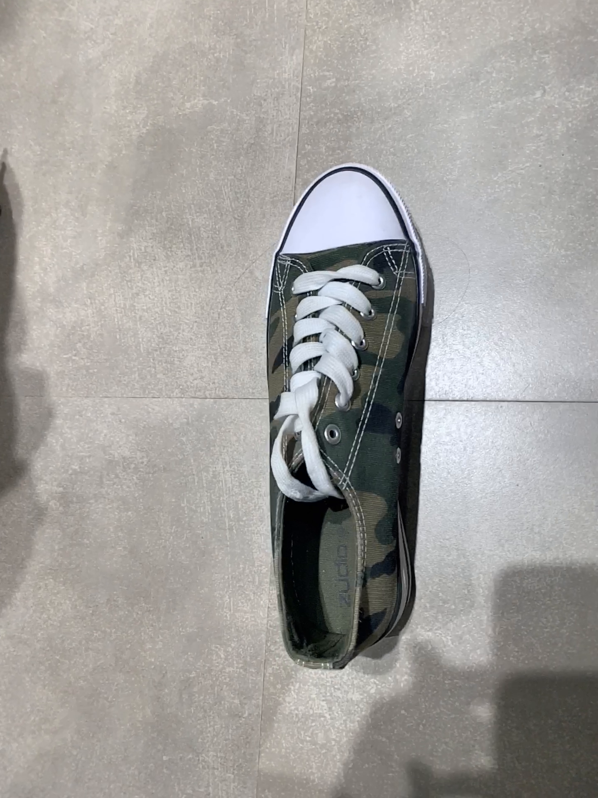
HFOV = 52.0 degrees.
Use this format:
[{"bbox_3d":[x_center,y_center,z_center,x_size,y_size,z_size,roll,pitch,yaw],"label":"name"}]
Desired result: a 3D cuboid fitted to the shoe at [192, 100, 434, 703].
[{"bbox_3d":[0.013,-0.001,0.320,0.099,0.079,0.266,-2,80,19],"label":"shoe"}]
